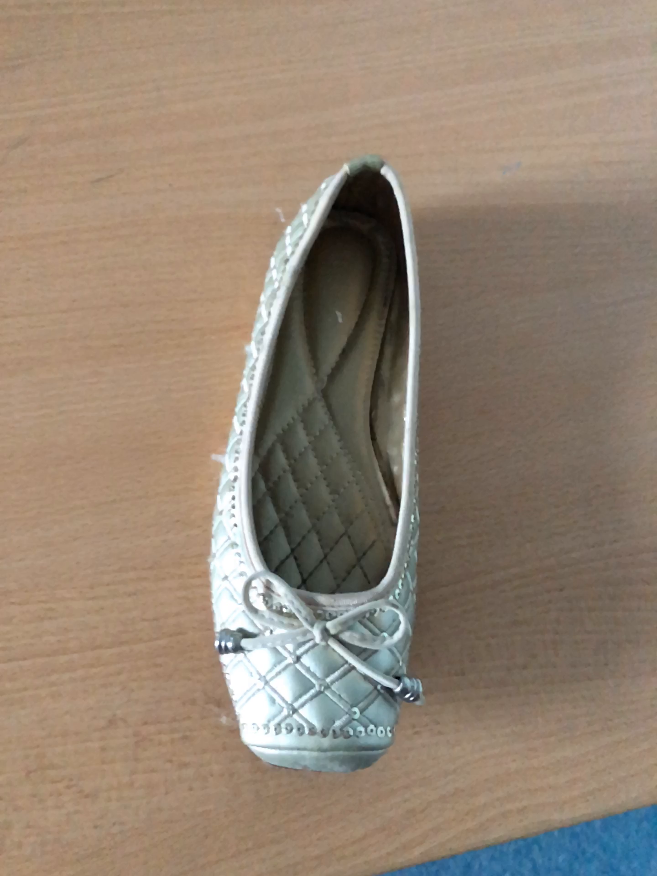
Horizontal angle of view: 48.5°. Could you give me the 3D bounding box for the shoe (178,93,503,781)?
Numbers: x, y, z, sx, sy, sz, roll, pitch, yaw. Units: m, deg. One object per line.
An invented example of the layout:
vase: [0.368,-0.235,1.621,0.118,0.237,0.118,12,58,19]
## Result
shoe: [0.005,-0.006,0.304,0.100,0.080,0.260,3,71,-4]
